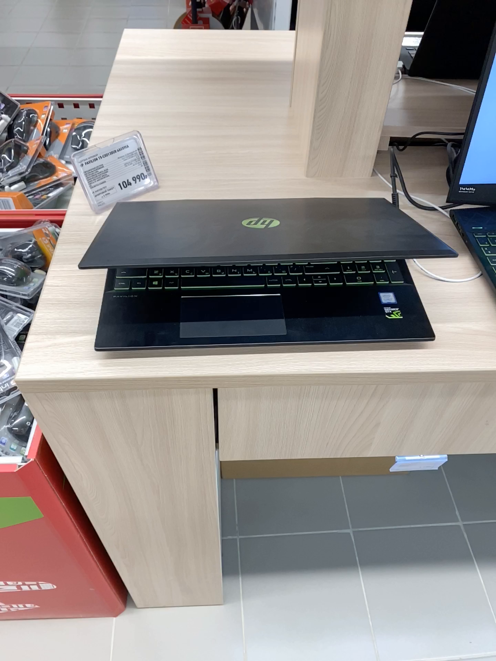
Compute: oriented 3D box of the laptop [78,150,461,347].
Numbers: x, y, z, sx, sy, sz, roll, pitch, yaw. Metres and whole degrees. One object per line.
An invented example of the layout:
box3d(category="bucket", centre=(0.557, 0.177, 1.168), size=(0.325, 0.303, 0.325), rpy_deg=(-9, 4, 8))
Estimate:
box3d(category="laptop", centre=(0.016, -0.106, 0.590), size=(0.365, 0.086, 0.242), rpy_deg=(-1, 49, -3))
